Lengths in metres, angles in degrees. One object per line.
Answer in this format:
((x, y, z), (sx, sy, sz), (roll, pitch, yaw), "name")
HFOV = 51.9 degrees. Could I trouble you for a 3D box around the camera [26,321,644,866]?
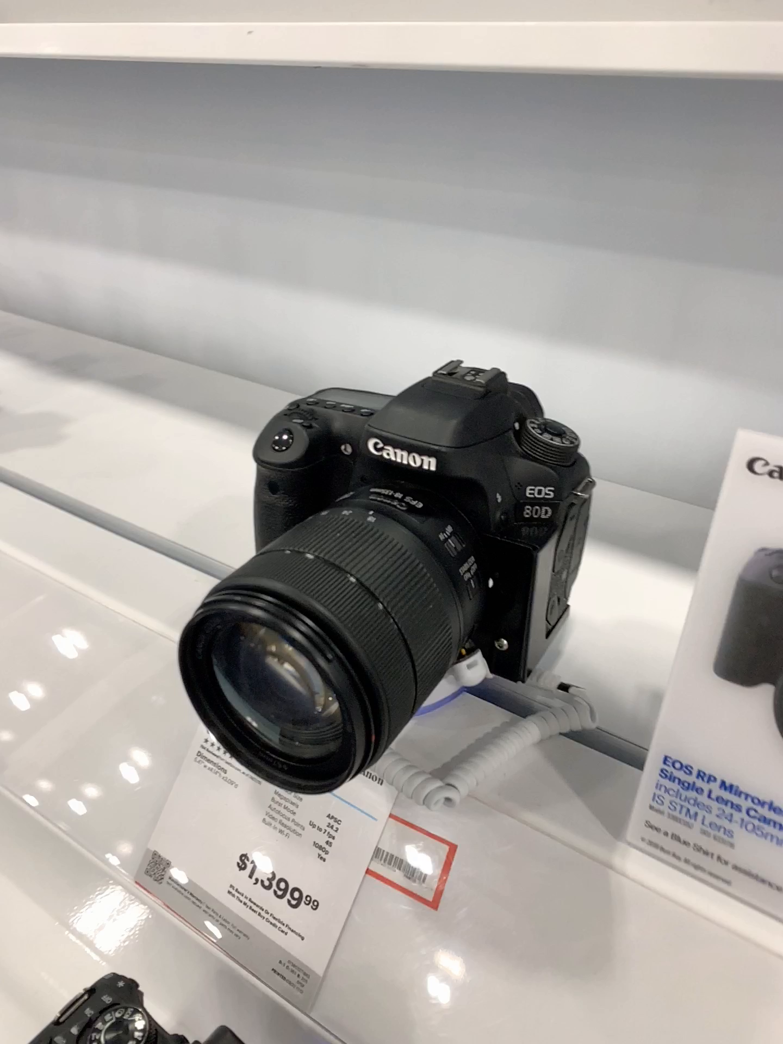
((-0.009, 0.003, 0.311), (0.150, 0.099, 0.171), (17, 32, 26), "camera")
